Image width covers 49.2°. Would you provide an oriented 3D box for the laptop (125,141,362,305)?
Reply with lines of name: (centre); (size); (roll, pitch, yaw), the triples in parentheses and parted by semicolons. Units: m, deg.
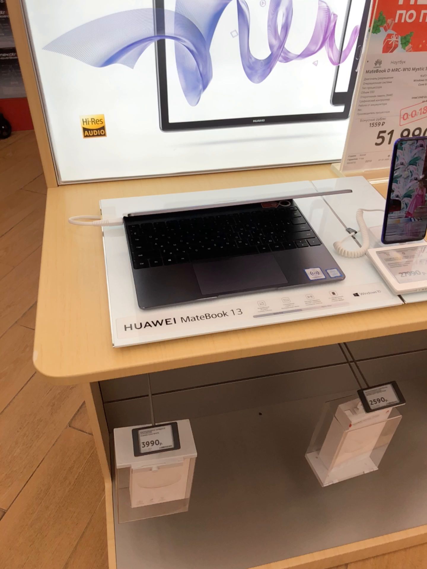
laptop: (0.027, -0.097, 0.647); (0.271, 0.106, 0.205); (-7, 41, -12)
